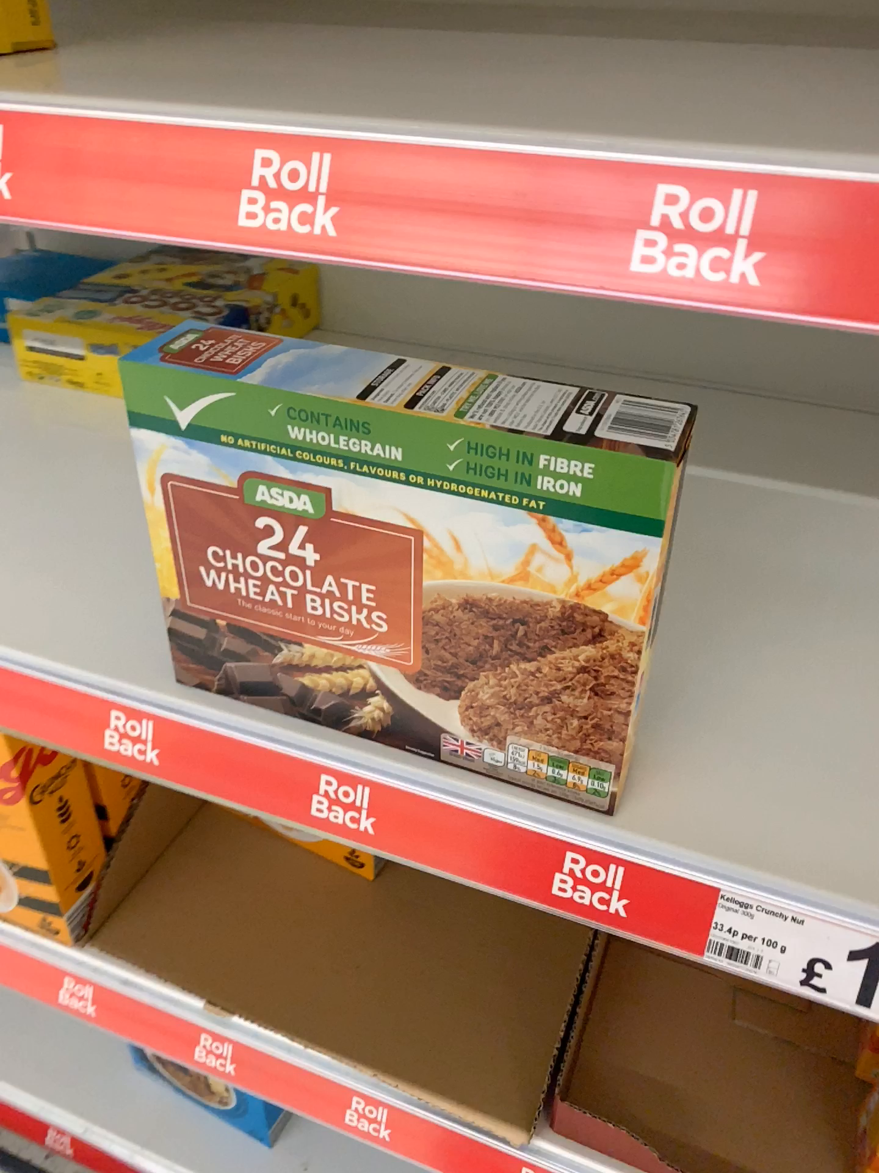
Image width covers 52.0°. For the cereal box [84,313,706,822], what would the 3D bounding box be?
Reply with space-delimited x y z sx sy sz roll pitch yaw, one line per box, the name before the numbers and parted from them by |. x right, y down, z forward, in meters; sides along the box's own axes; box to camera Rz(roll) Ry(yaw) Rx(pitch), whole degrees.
cereal box | -0.023 -0.013 0.424 0.250 0.178 0.071 14 38 18
